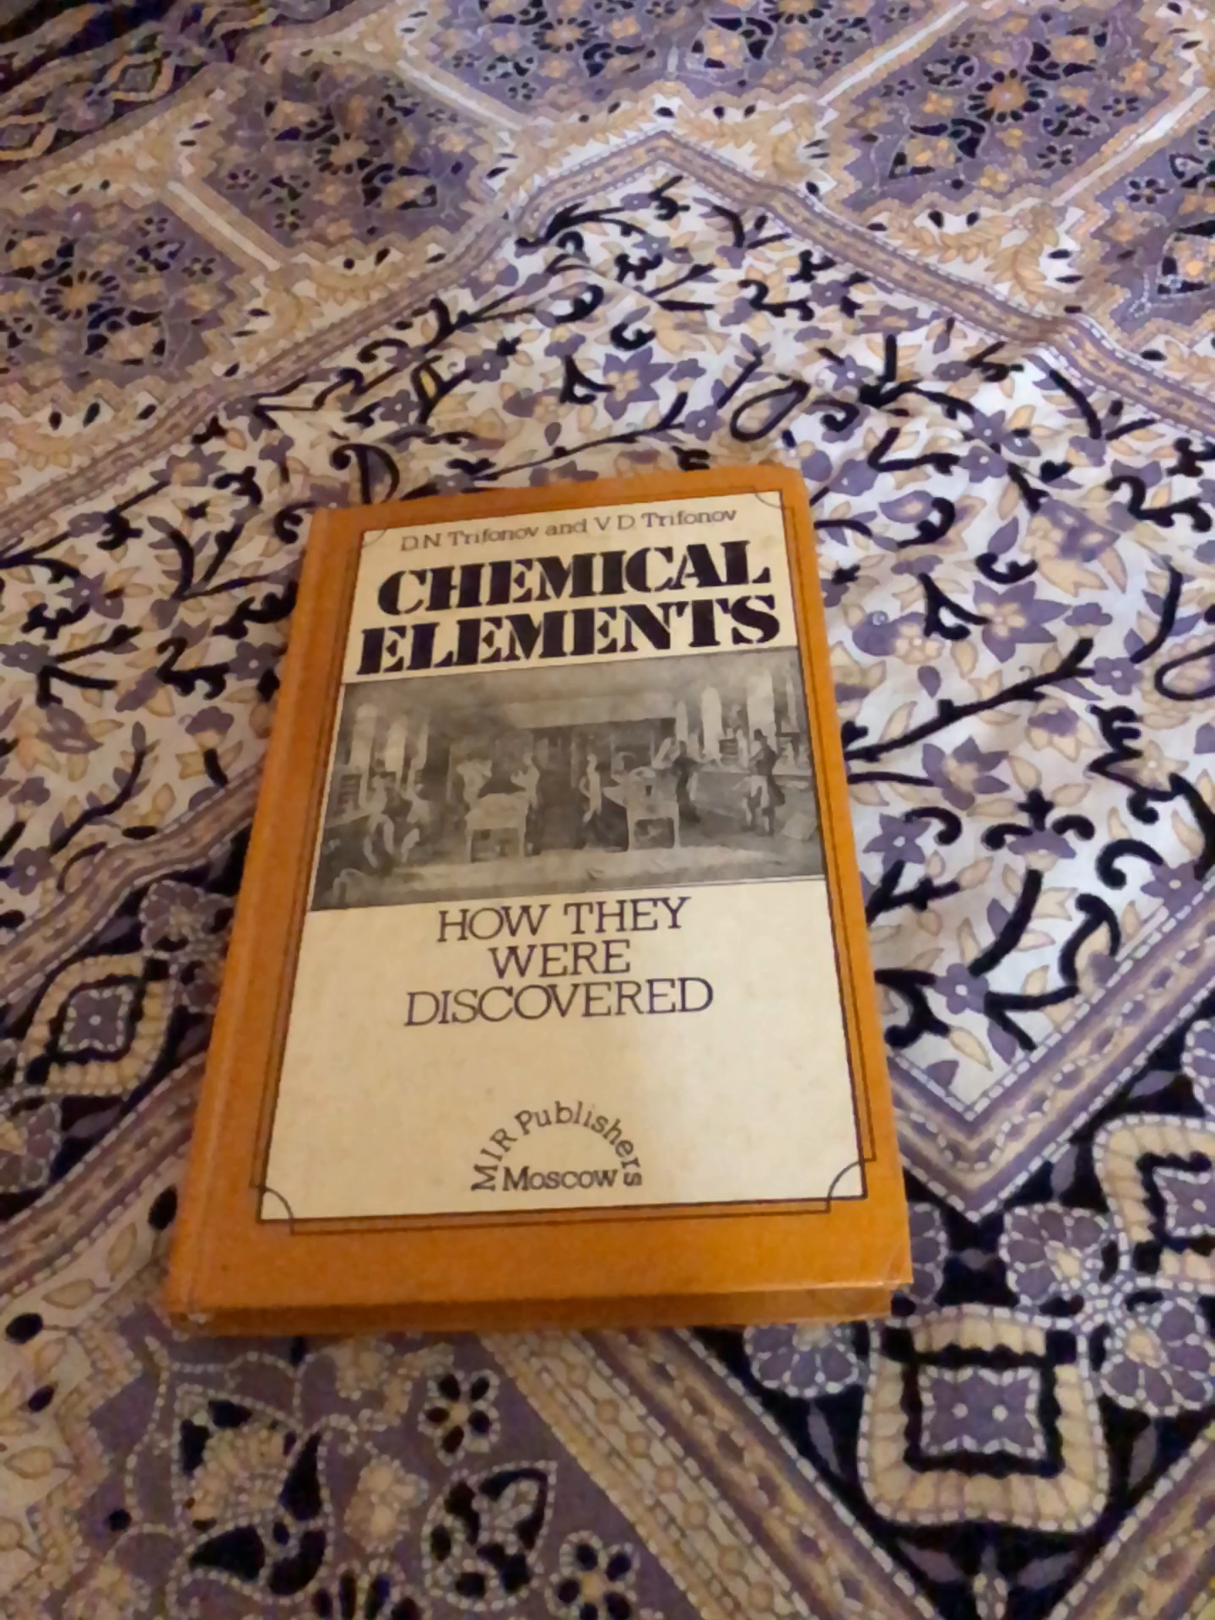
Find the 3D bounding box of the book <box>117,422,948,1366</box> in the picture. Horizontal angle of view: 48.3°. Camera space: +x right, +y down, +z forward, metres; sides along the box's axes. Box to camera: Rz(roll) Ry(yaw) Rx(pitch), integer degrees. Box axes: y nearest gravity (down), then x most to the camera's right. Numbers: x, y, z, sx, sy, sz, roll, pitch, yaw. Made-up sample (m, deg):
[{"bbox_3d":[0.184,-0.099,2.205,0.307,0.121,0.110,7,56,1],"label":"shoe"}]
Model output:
[{"bbox_3d":[-0.014,0.002,0.303,0.140,0.030,0.221,-4,54,5],"label":"book"}]
